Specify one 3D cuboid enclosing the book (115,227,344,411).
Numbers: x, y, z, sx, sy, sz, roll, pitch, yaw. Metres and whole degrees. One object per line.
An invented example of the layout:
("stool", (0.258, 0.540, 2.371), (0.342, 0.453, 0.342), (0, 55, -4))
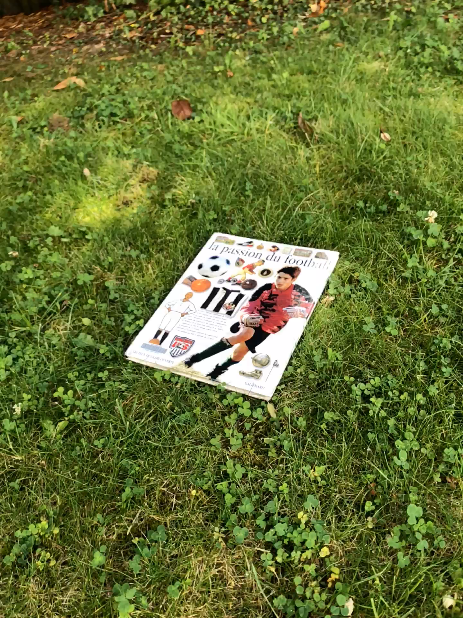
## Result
("book", (0.008, -0.009, 0.749), (0.230, 0.020, 0.302), (13, 49, 24))
